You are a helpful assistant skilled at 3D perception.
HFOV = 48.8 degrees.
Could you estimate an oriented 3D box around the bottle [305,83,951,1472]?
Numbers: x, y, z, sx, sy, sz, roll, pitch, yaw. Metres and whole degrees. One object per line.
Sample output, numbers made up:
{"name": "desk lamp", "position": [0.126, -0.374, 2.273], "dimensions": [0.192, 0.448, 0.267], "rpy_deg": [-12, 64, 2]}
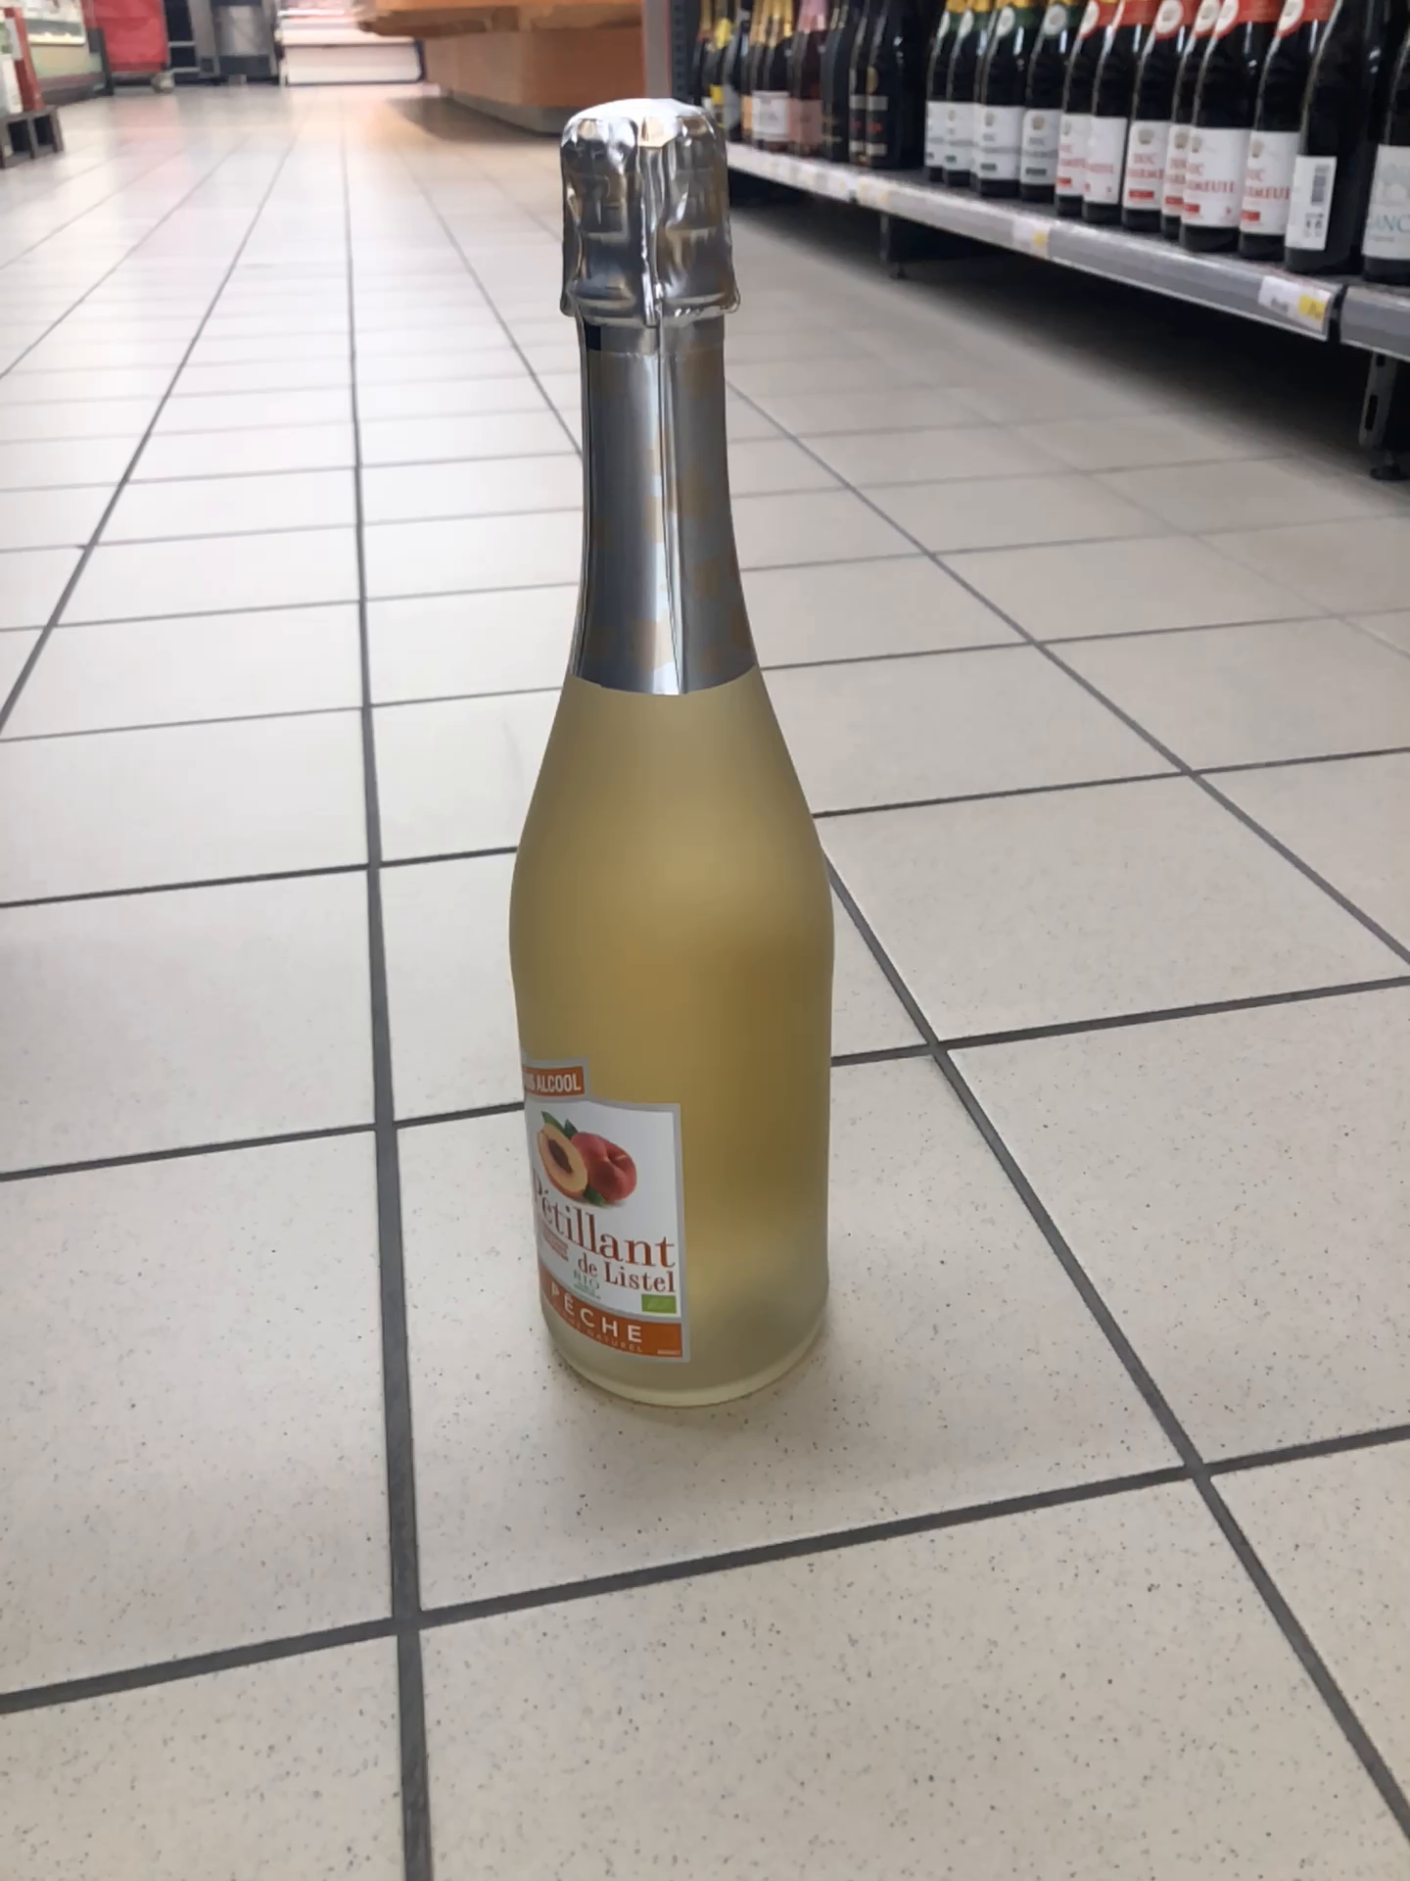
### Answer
{"name": "bottle", "position": [-0.010, -0.031, 0.378], "dimensions": [0.090, 0.308, 0.091], "rpy_deg": [-1, 28, 1]}
